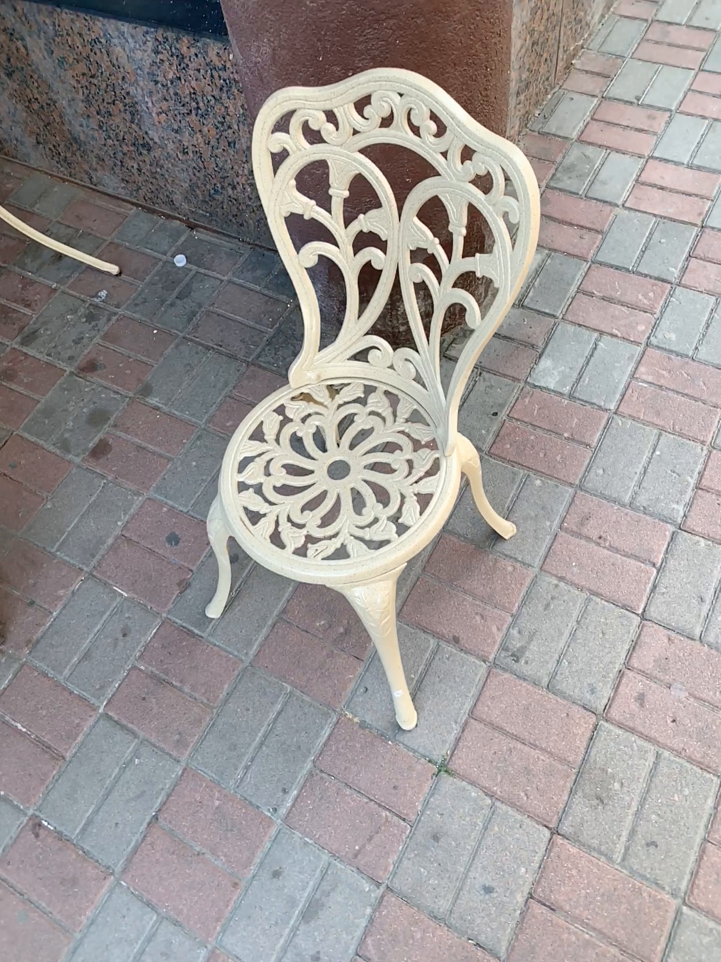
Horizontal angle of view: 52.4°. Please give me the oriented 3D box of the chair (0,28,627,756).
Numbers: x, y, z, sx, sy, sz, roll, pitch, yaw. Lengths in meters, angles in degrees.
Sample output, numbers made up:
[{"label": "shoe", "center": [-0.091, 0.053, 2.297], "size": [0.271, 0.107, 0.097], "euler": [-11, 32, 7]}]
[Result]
[{"label": "chair", "center": [-0.028, -0.055, 1.060], "size": [0.481, 0.798, 0.551], "euler": [25, 65, 21]}]
